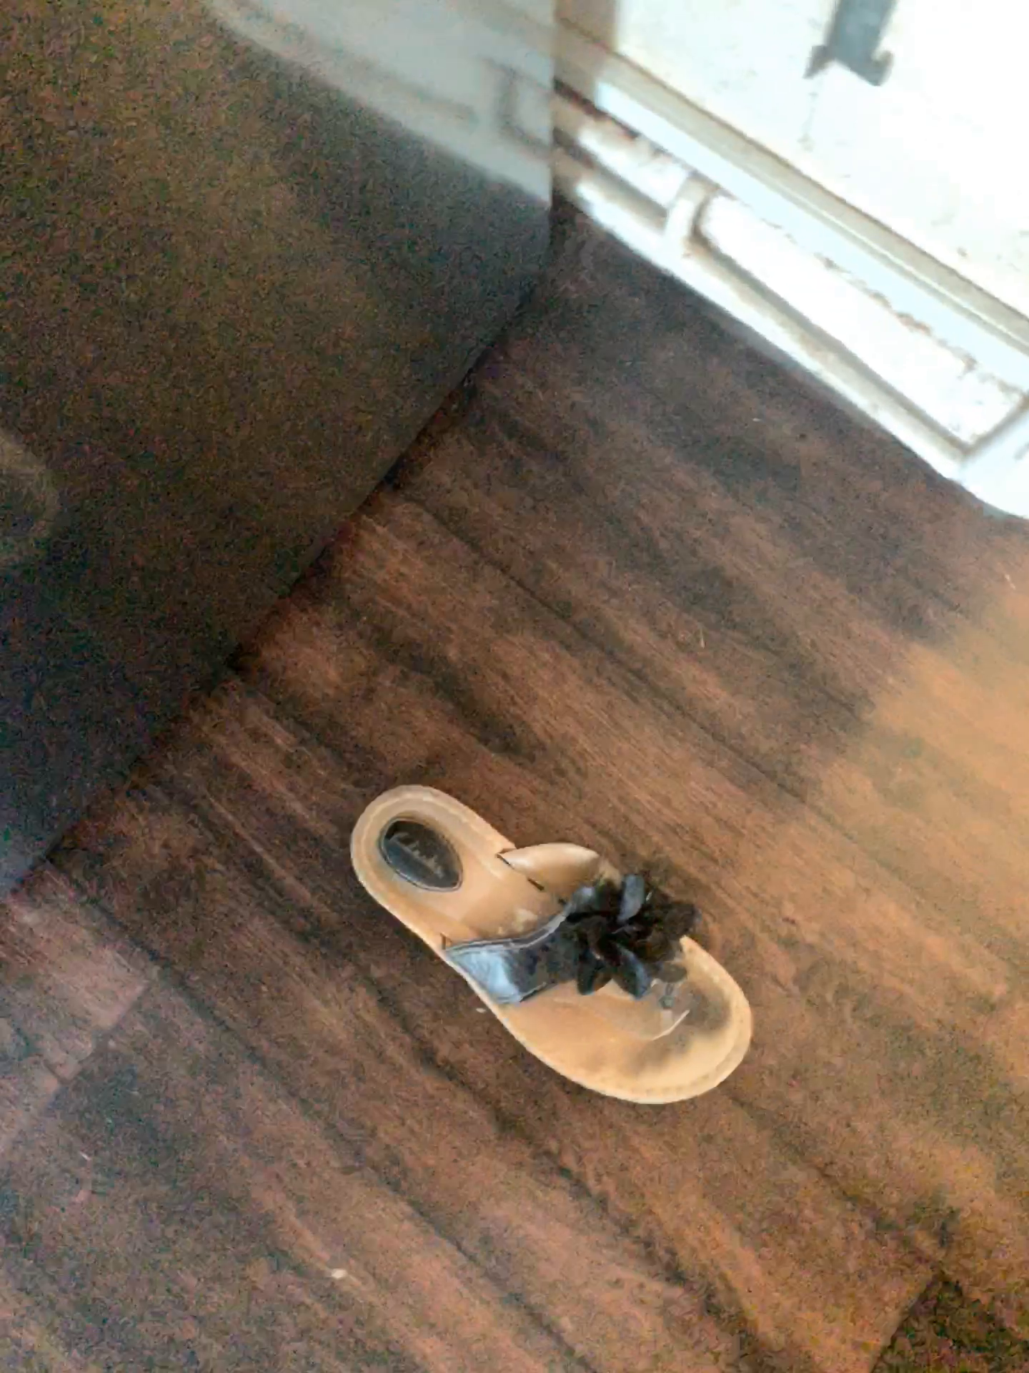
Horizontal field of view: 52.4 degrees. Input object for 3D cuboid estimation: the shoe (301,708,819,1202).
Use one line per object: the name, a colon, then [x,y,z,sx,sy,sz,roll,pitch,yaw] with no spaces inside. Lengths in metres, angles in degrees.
shoe: [0.021,0.135,0.557,0.250,0.050,0.110,38,80,10]
